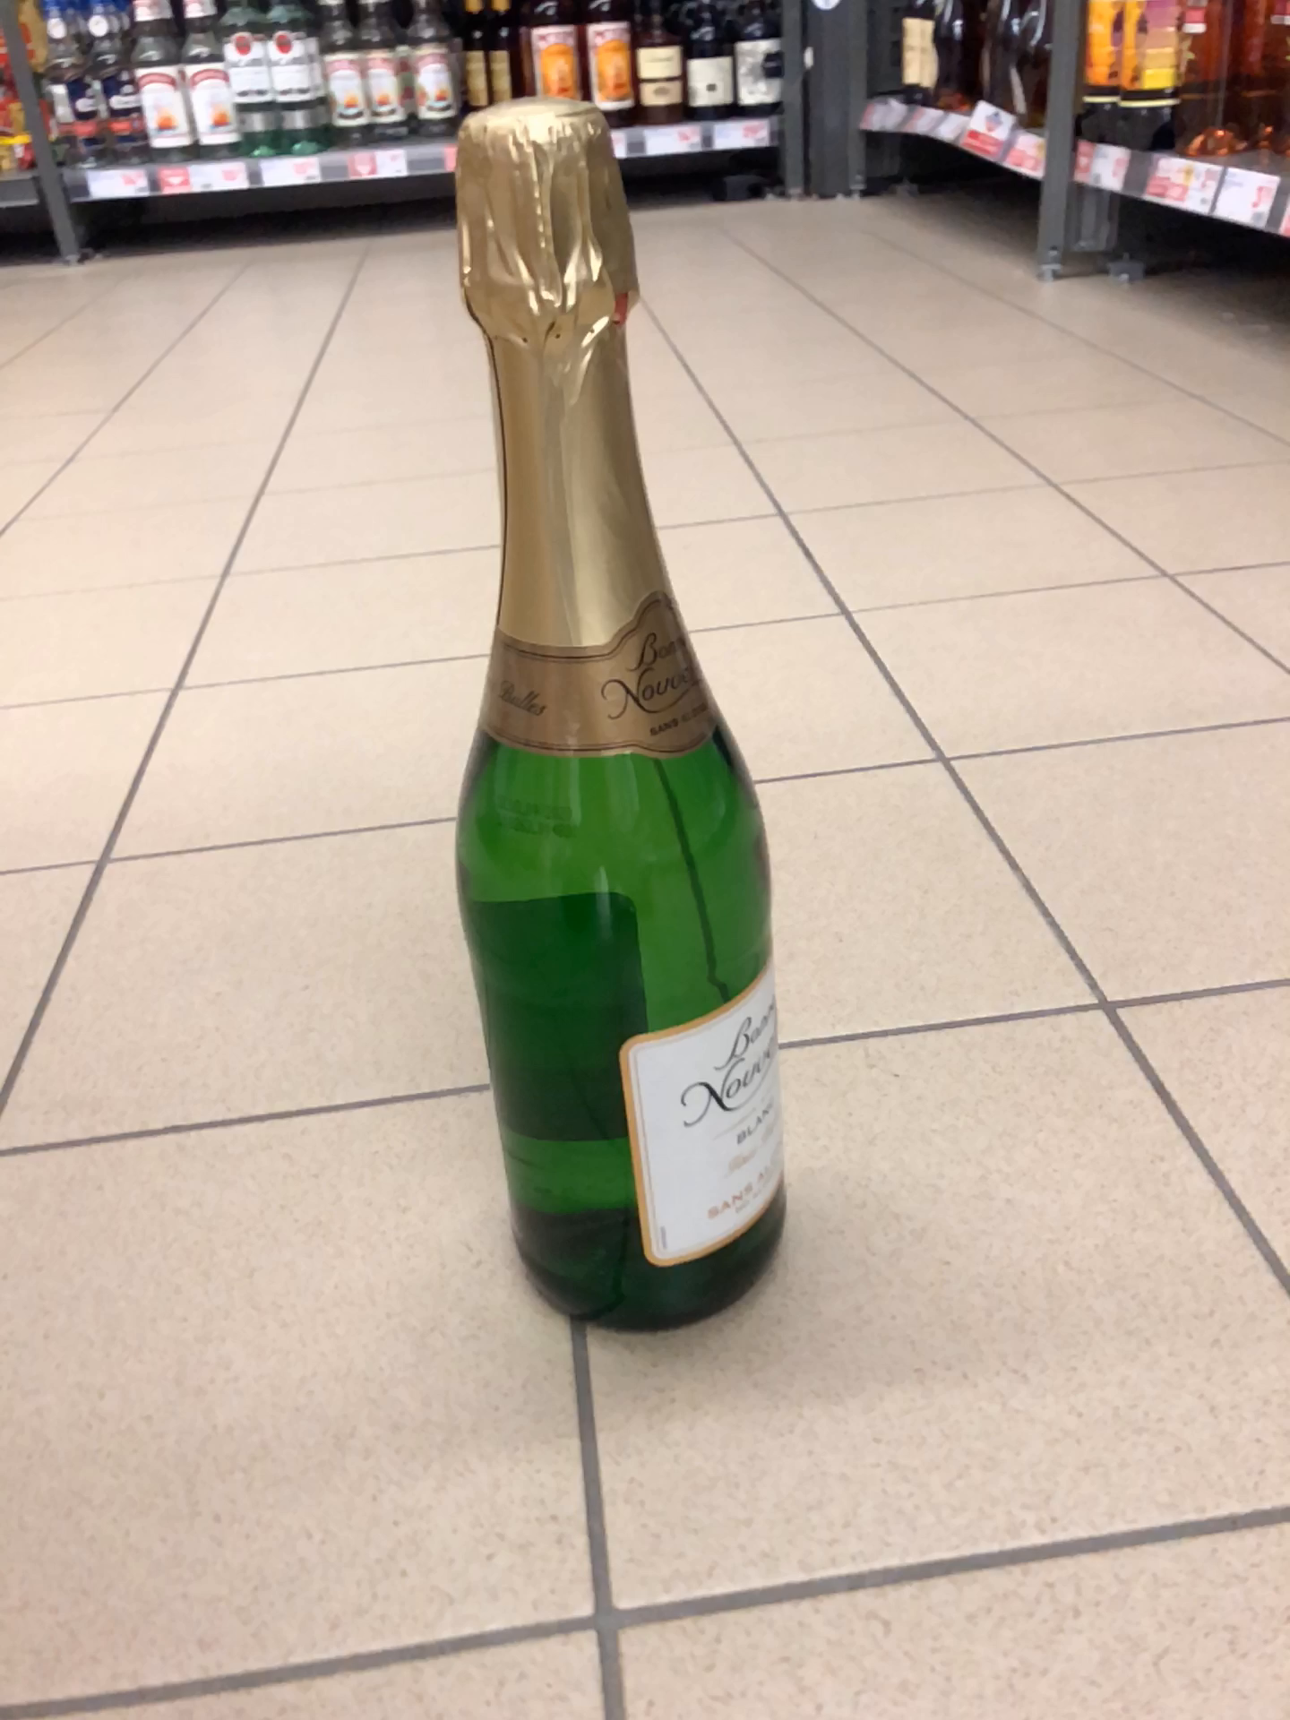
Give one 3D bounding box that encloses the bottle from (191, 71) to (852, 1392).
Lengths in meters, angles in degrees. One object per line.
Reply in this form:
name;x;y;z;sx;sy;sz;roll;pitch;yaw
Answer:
bottle;-0.010;-0.022;0.357;0.090;0.298;0.101;13;34;29
